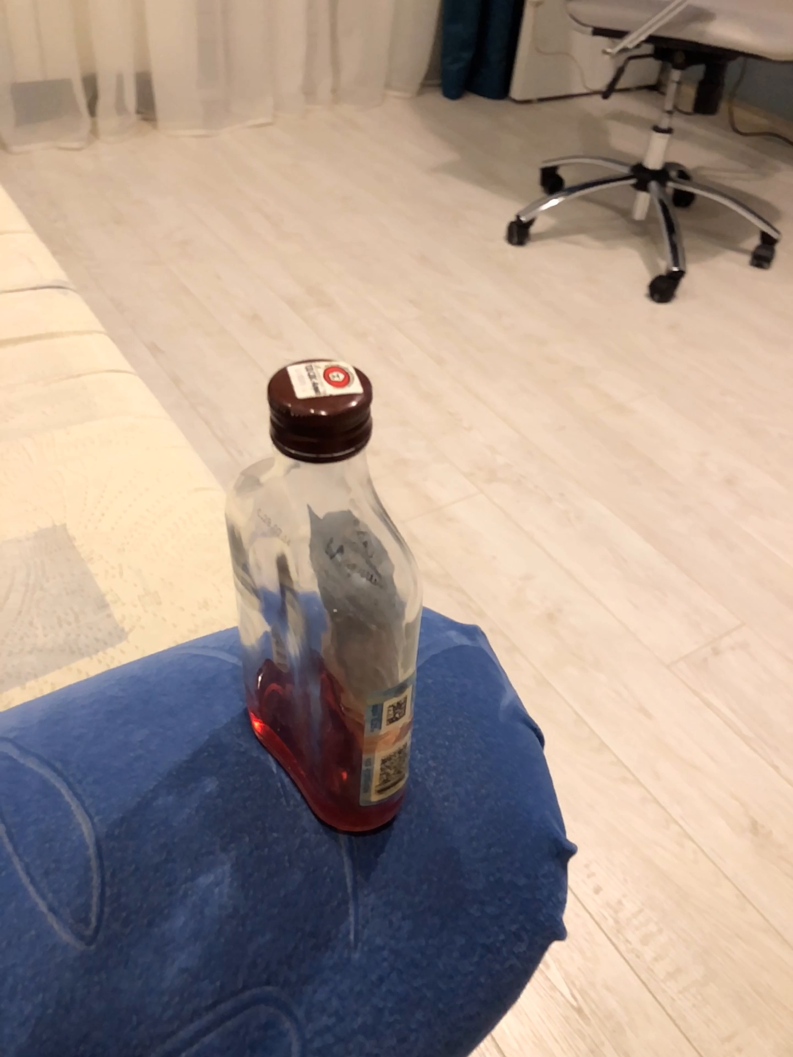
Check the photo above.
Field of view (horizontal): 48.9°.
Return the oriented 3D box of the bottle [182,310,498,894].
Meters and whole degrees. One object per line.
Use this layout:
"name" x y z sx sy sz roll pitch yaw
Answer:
"bottle" -0.025 0.033 0.291 0.040 0.179 0.090 -24 50 -29
